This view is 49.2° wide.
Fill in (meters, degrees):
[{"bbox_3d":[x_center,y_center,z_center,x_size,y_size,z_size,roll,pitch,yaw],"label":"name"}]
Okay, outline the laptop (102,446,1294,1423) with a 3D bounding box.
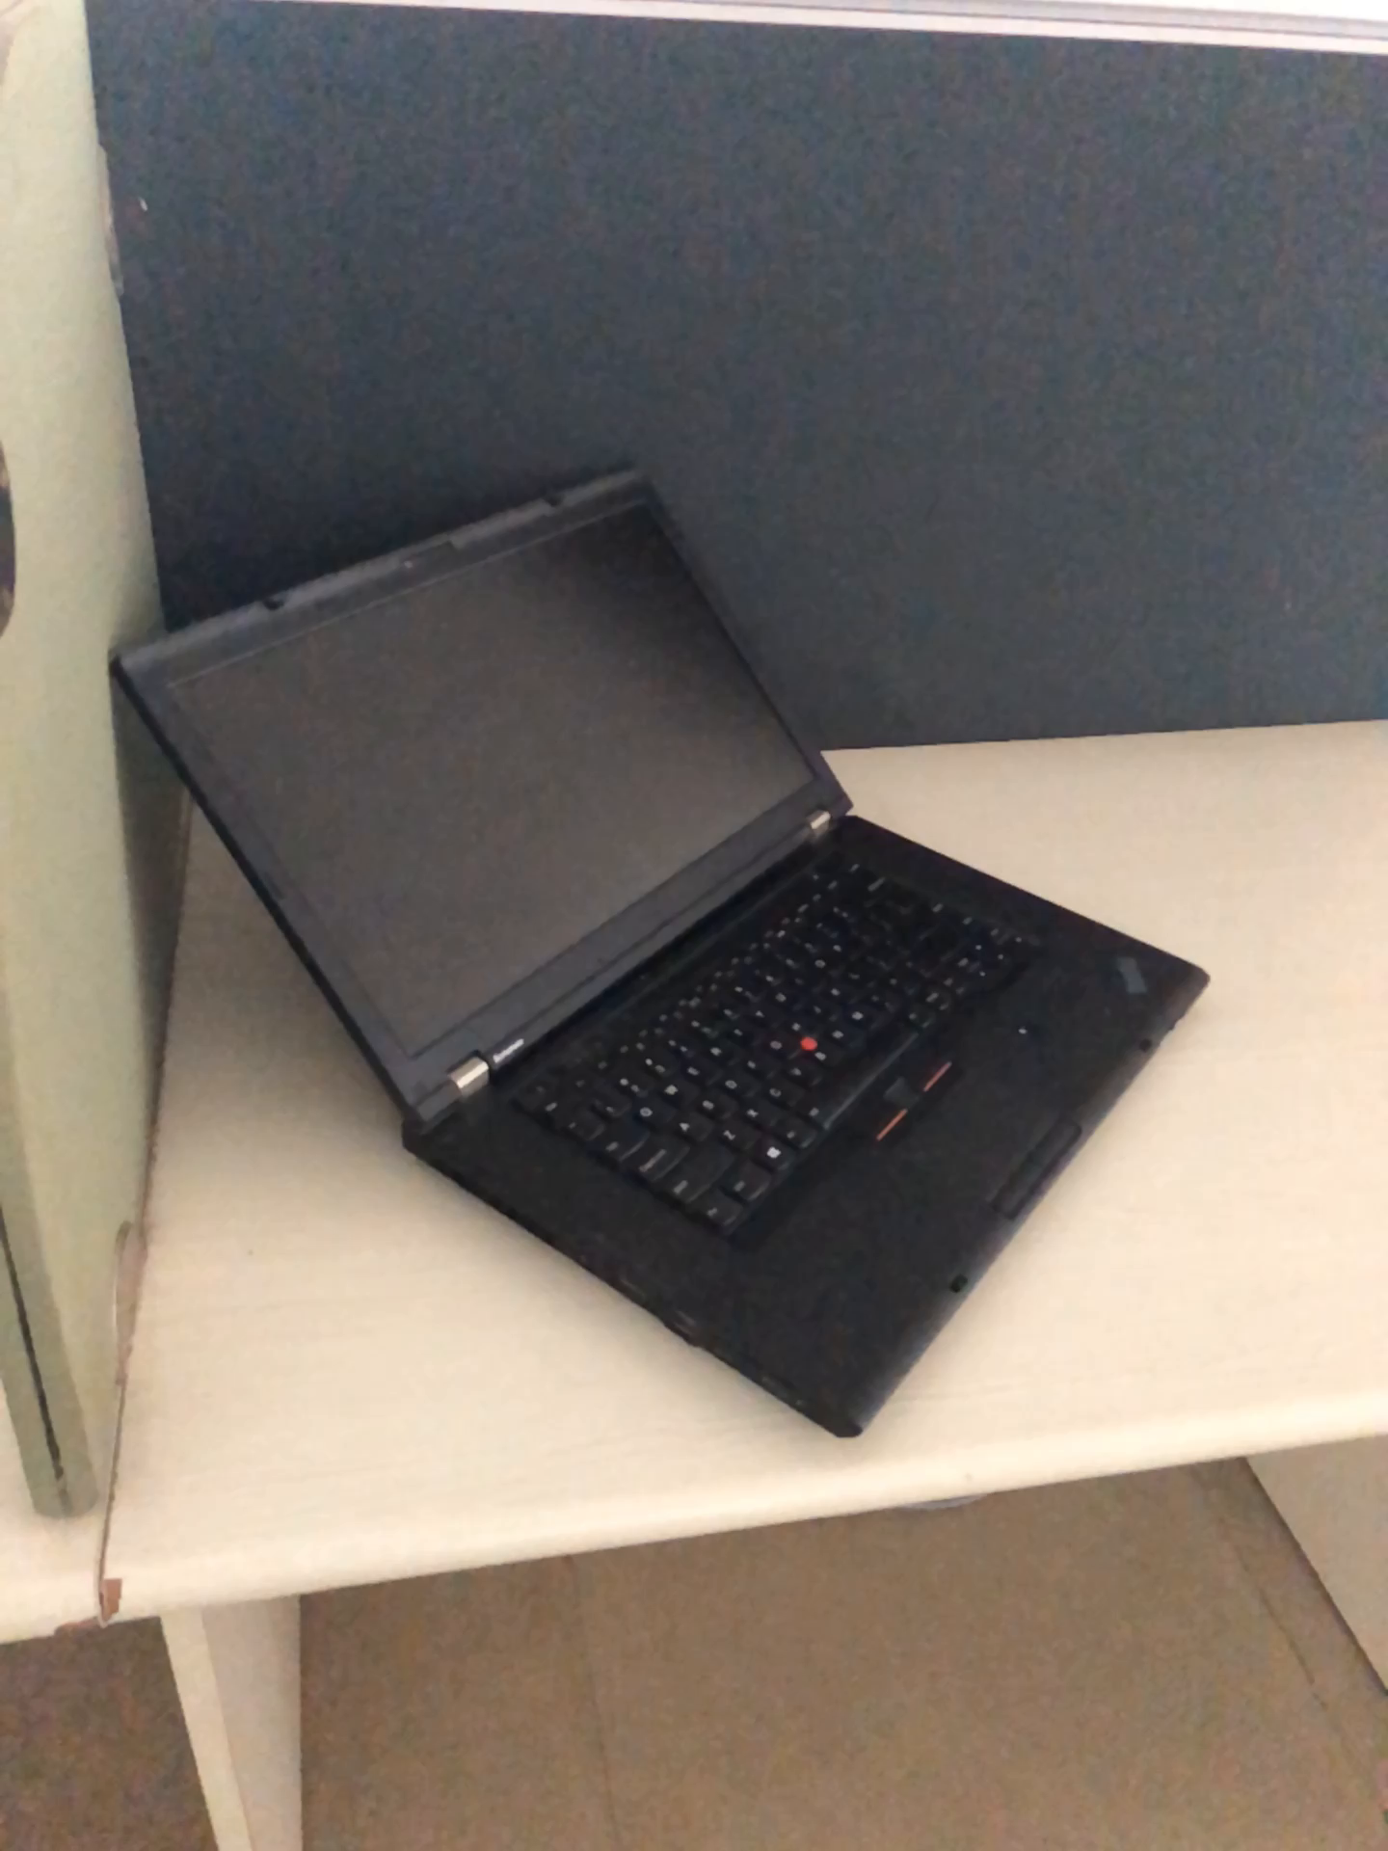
[{"bbox_3d":[0.010,-0.048,0.723,0.405,0.167,0.357,27,41,26],"label":"laptop"}]
